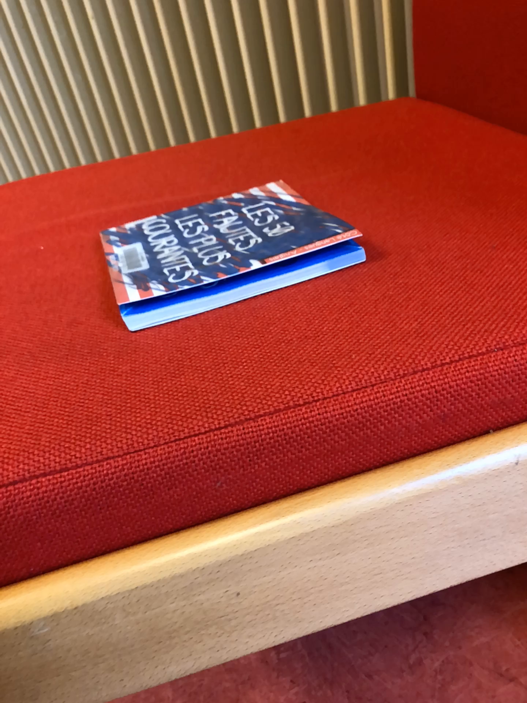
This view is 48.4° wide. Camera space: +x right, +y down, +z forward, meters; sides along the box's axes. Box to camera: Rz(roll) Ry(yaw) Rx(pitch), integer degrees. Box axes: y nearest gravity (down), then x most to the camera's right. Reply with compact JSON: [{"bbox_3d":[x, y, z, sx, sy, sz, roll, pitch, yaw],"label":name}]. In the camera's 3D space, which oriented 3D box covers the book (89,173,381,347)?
[{"bbox_3d":[-0.028,-0.068,0.369,0.148,0.020,0.149,-16,34,-11],"label":"book"}]
